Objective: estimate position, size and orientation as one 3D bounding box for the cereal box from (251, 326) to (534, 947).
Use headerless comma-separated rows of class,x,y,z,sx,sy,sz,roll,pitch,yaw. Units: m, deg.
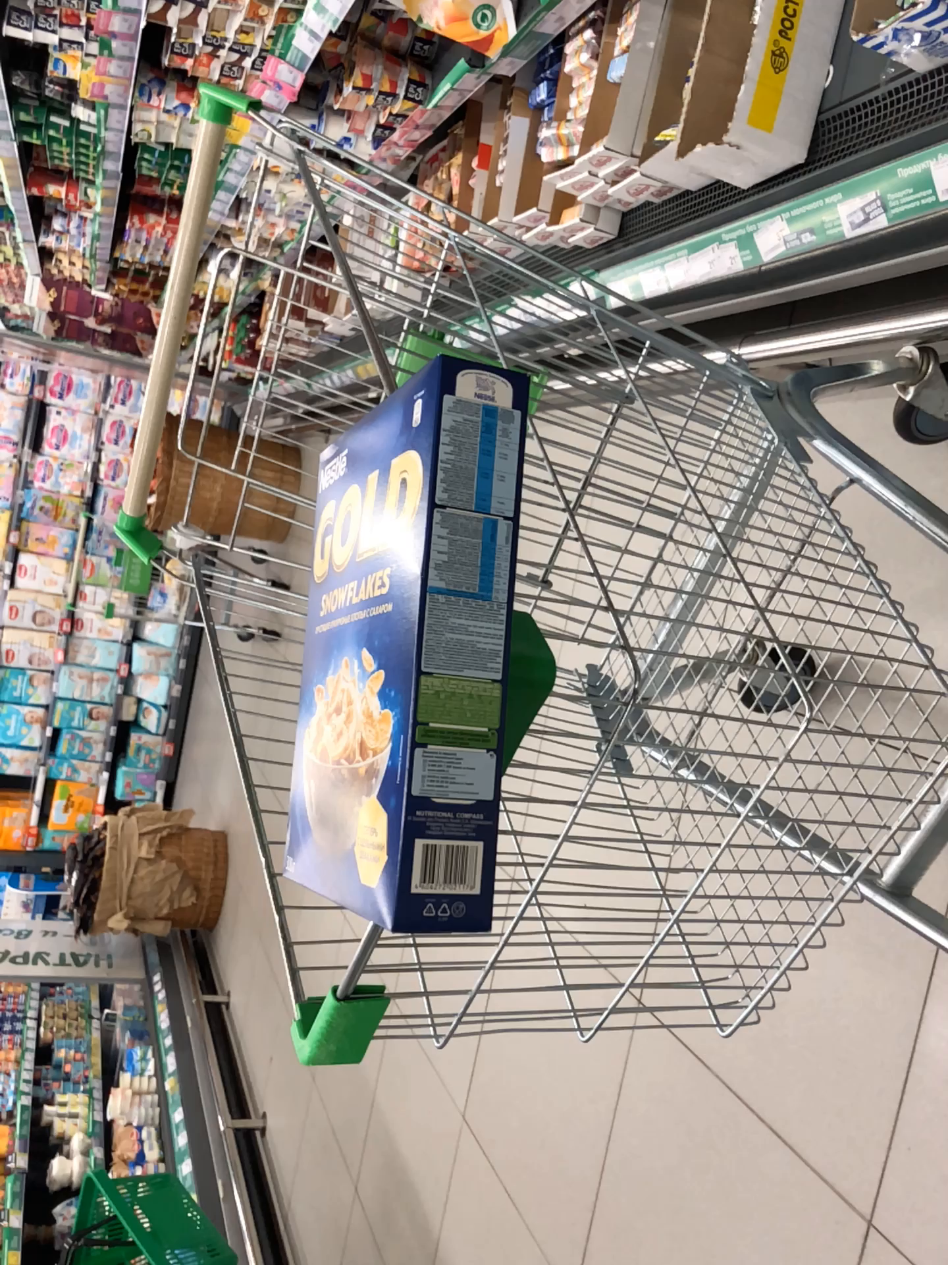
cereal box,-0.051,0.008,0.547,0.201,0.050,0.270,-11,72,62
